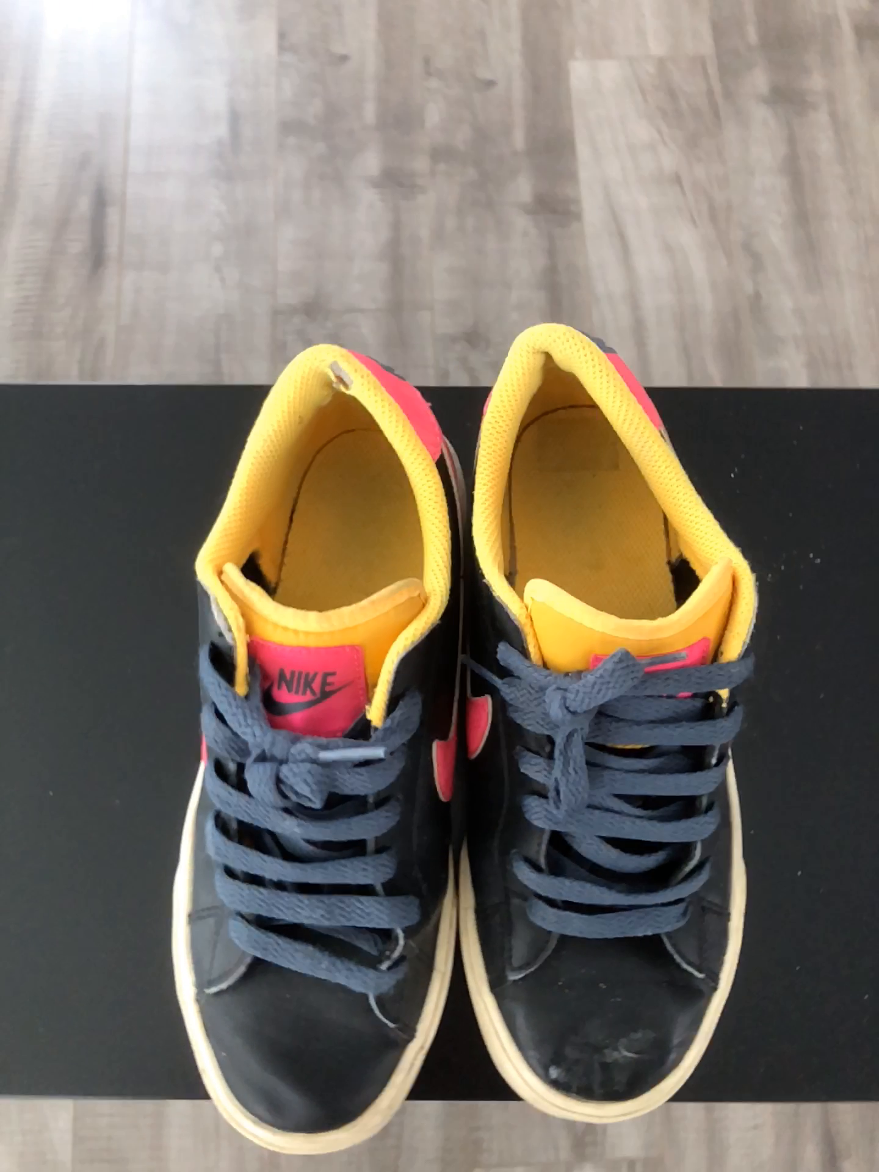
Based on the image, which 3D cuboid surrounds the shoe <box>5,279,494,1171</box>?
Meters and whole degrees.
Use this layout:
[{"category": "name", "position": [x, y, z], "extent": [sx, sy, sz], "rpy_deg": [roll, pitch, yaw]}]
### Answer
[{"category": "shoe", "position": [-0.039, 0.043, 0.300], "extent": [0.095, 0.100, 0.244], "rpy_deg": [4, 74, 4]}]

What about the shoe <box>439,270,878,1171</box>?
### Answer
[{"category": "shoe", "position": [0.051, 0.042, 0.297], "extent": [0.090, 0.100, 0.244], "rpy_deg": [-2, 74, 2]}]
